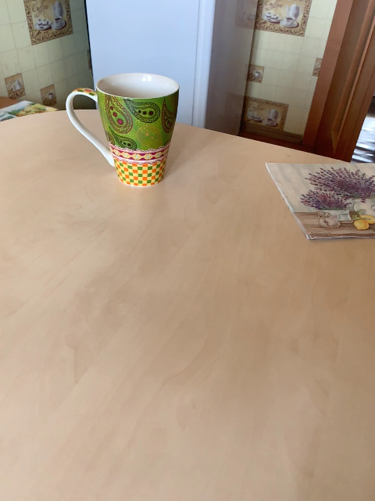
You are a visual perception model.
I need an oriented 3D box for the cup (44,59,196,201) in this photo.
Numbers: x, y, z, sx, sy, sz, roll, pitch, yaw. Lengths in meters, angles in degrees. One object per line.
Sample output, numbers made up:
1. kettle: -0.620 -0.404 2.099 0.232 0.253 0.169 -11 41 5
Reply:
1. cup: -0.071 -0.146 0.457 0.130 0.109 0.110 13 40 12
